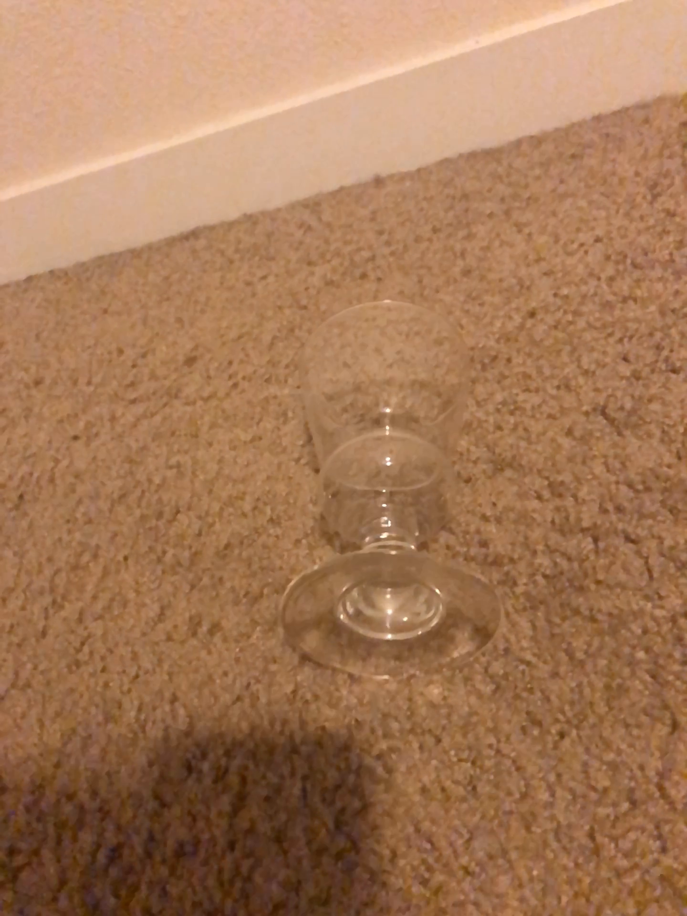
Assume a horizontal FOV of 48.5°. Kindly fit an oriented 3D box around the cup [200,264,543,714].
[{"bbox_3d":[0.013,0.005,0.313,0.094,0.078,0.158,-14,39,14],"label":"cup"}]
